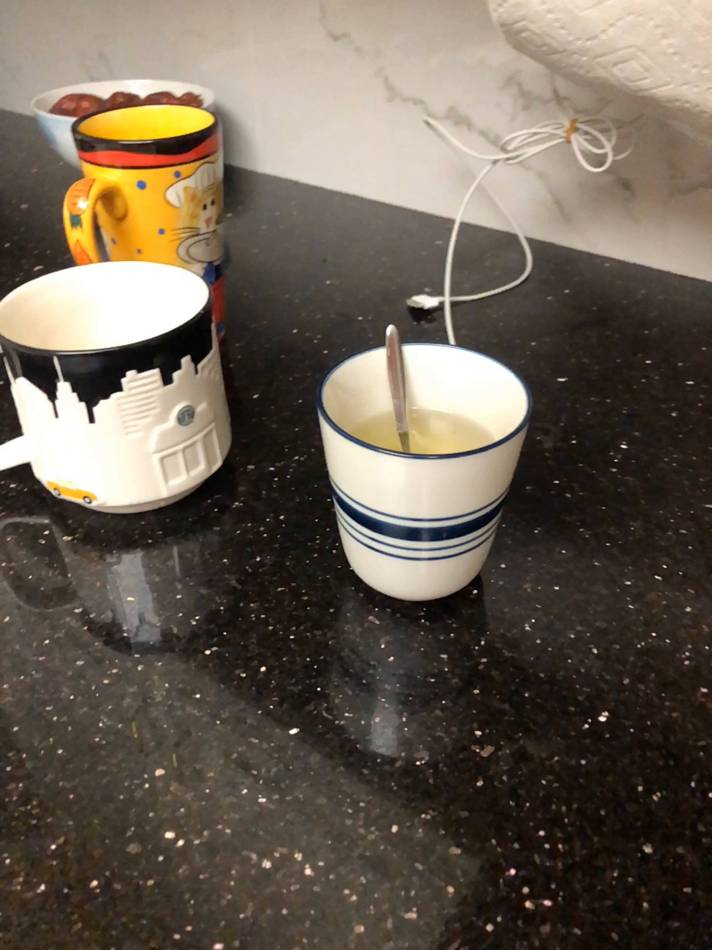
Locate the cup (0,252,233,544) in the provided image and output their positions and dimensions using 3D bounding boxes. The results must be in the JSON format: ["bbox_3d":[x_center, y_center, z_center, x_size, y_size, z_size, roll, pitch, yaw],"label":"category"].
[{"bbox_3d":[-0.139,-0.044,0.410,0.140,0.099,0.111,-4,37,-6],"label":"cup"}]

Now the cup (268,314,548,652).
[{"bbox_3d":[0.025,-0.004,0.361,0.100,0.080,0.141,4,37,5],"label":"cup"}]

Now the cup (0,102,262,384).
[{"bbox_3d":[-0.133,-0.154,0.508,0.090,0.129,0.131,11,38,14],"label":"cup"}]
